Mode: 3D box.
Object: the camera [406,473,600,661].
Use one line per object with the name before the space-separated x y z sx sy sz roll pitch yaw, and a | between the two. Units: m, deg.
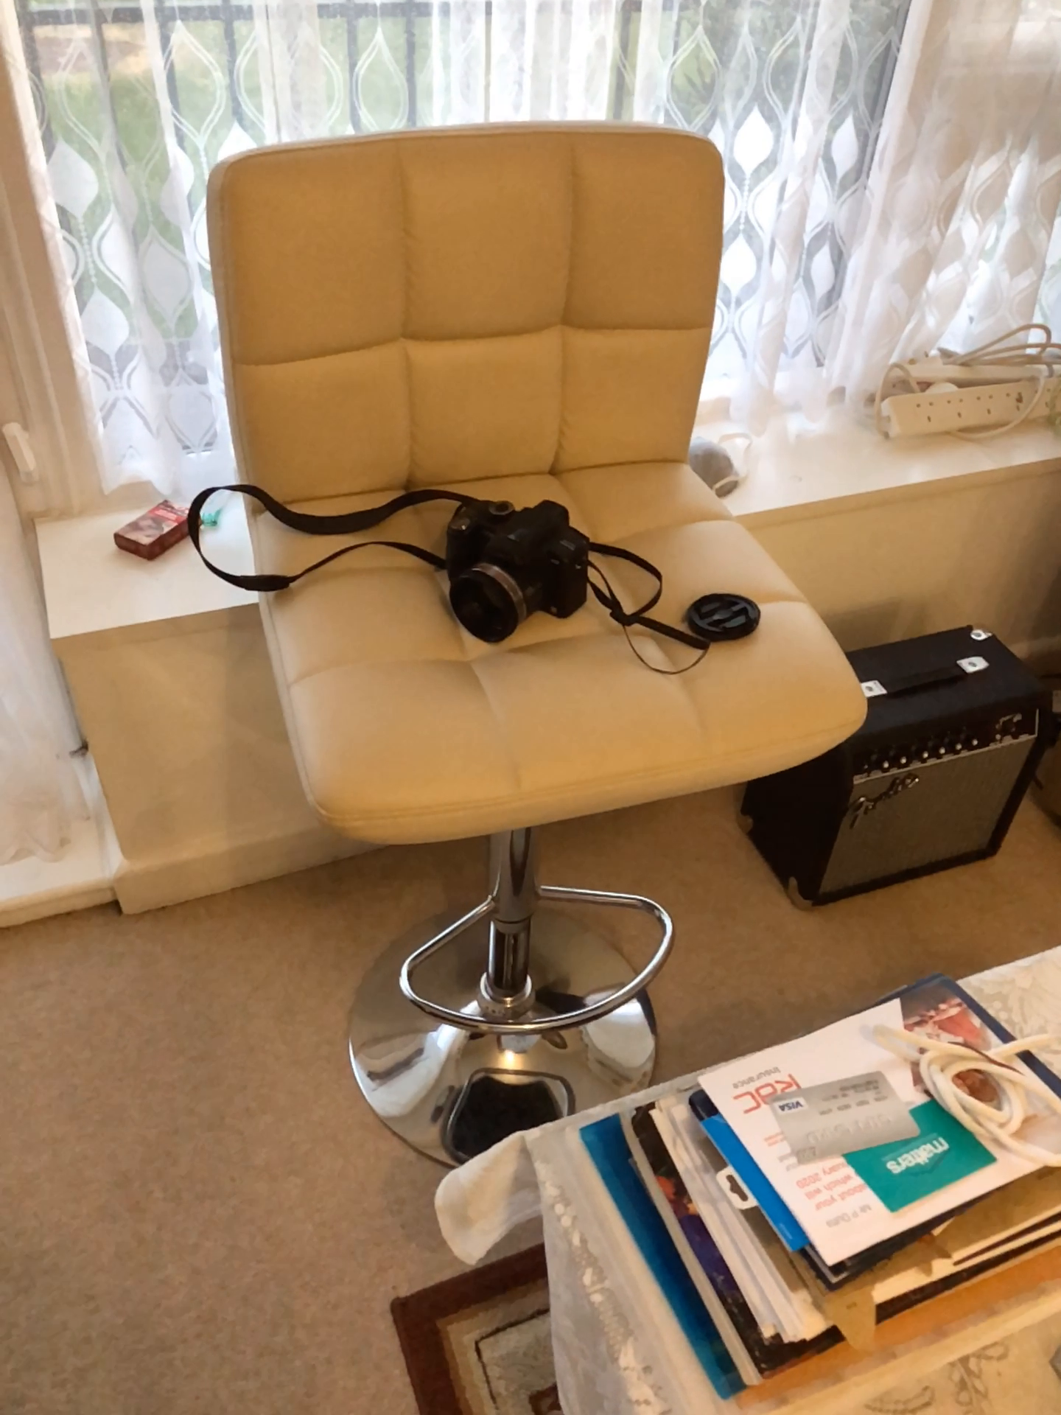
camera | -0.022 -0.111 0.896 0.112 0.076 0.098 23 45 21
